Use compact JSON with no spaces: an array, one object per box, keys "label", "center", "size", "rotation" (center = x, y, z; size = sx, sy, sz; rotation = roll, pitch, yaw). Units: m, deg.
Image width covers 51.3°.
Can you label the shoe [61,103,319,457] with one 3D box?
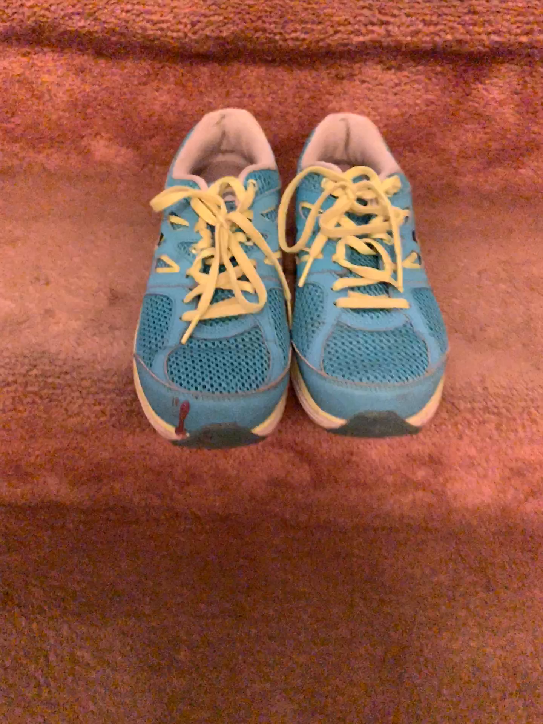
[{"label":"shoe","center":[-0.039,-0.078,0.382],"size":[0.110,0.099,0.283],"rotation":[1,40,-2]}]

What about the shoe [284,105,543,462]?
[{"label":"shoe","center":[0.067,-0.077,0.384],"size":[0.110,0.099,0.283],"rotation":[2,40,0]}]
